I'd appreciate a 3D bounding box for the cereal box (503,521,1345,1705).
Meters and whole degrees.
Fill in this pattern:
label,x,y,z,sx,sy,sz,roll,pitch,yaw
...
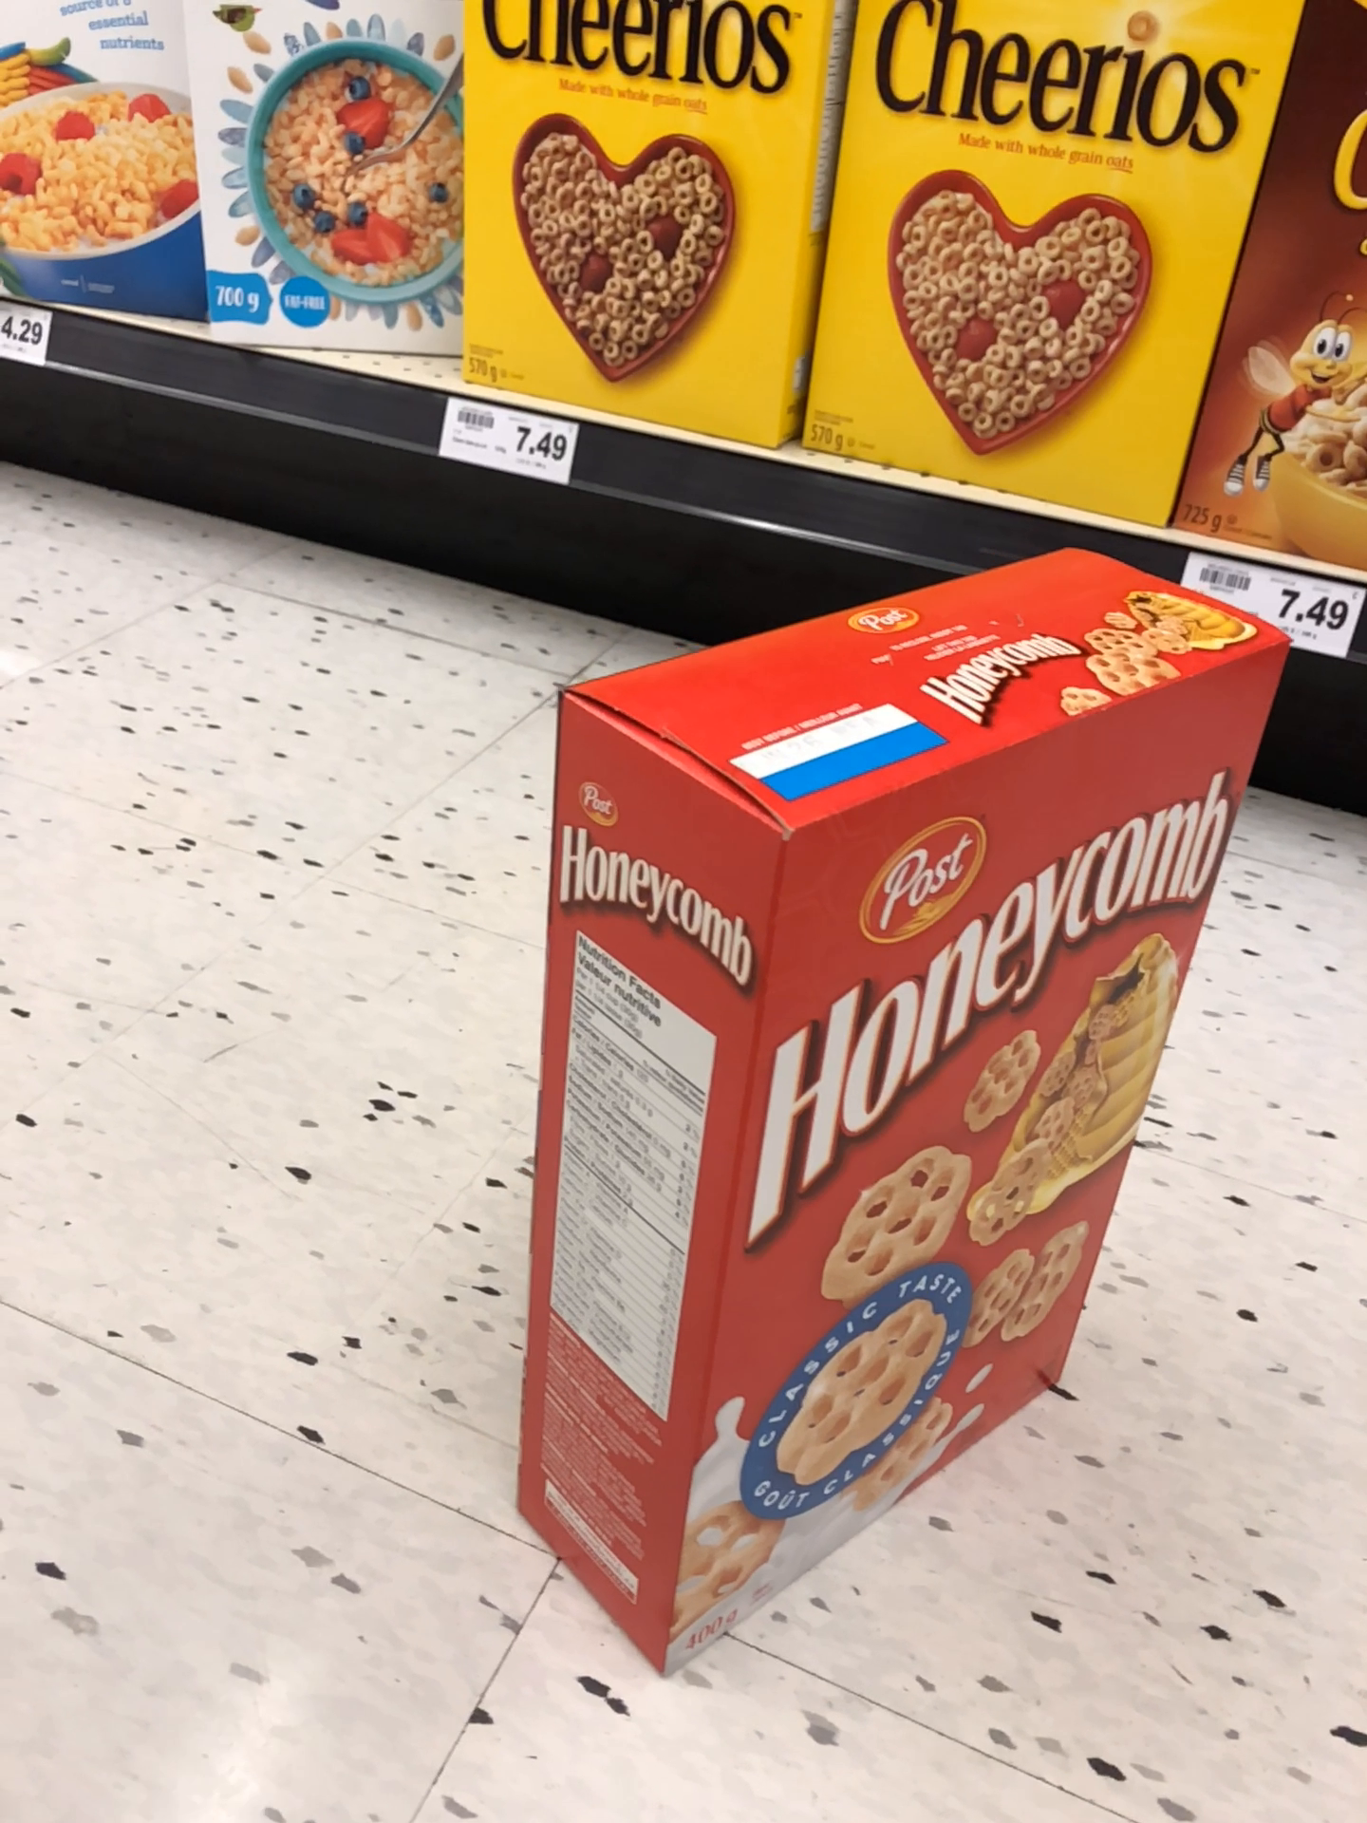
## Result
label,x,y,z,sx,sy,sz,roll,pitch,yaw
cereal box,0.057,0.058,0.440,0.201,0.298,0.080,-21,41,-35
